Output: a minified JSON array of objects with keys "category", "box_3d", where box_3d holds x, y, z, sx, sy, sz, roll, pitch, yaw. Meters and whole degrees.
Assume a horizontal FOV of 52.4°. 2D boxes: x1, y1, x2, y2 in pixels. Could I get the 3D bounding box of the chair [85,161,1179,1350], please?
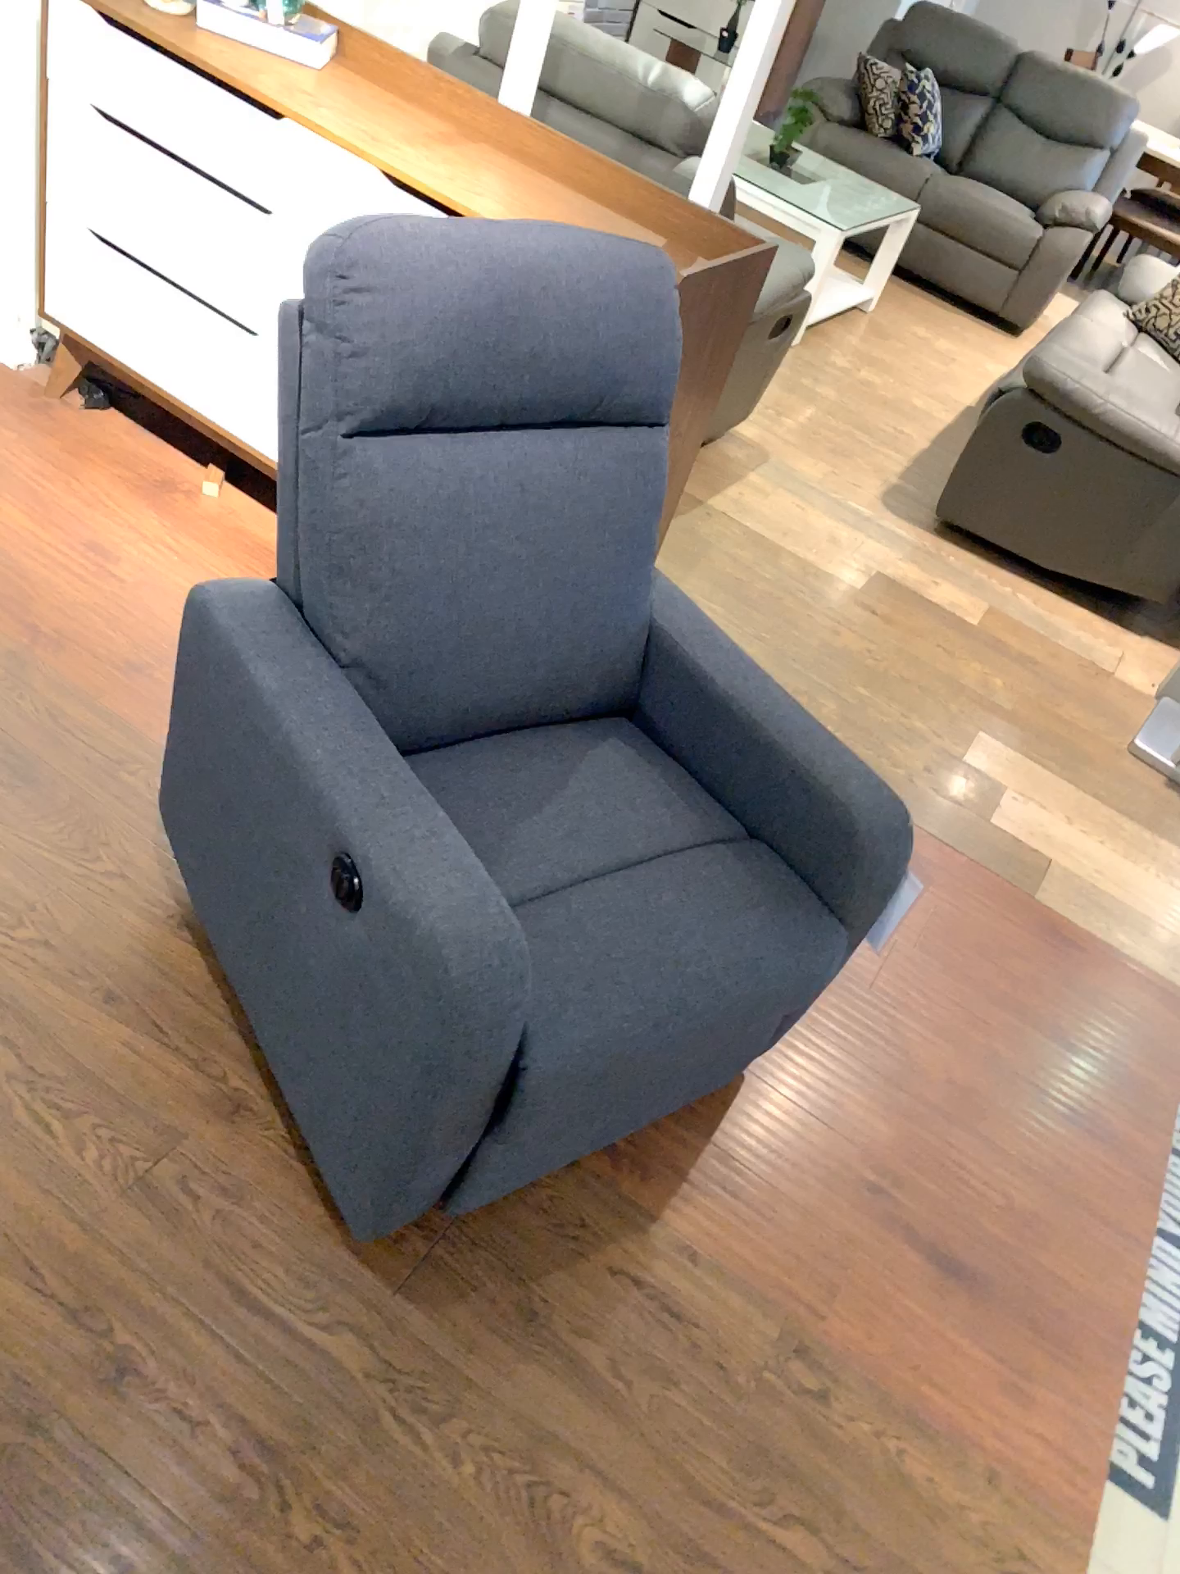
[{"category":"chair","box_3d":[-0.017,-0.088,1.574,0.932,0.966,0.881,-15,52,-37]}]
